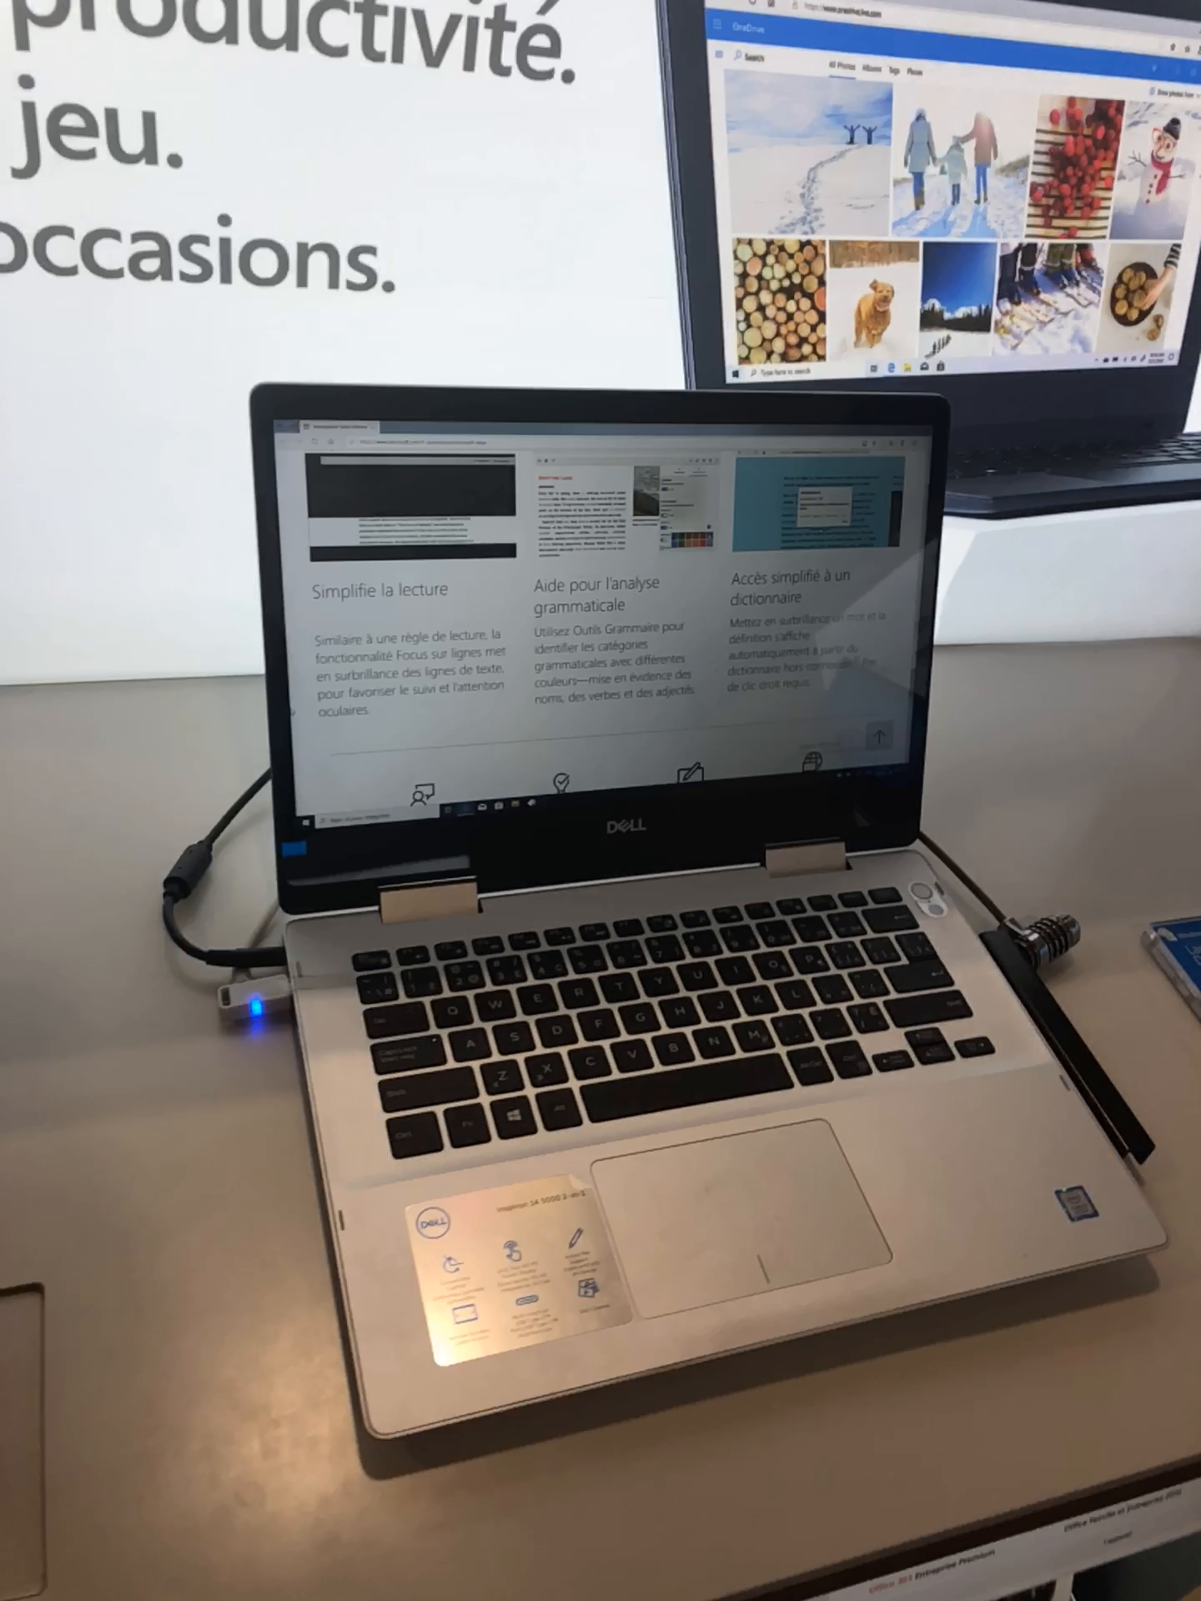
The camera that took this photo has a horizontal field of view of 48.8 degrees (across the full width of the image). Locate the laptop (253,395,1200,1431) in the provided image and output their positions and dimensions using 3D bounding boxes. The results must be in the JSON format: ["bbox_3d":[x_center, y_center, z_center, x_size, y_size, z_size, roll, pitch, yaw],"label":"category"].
[{"bbox_3d":[0.042,0.007,0.534,0.317,0.193,0.338,-5,45,-19],"label":"laptop"}]
